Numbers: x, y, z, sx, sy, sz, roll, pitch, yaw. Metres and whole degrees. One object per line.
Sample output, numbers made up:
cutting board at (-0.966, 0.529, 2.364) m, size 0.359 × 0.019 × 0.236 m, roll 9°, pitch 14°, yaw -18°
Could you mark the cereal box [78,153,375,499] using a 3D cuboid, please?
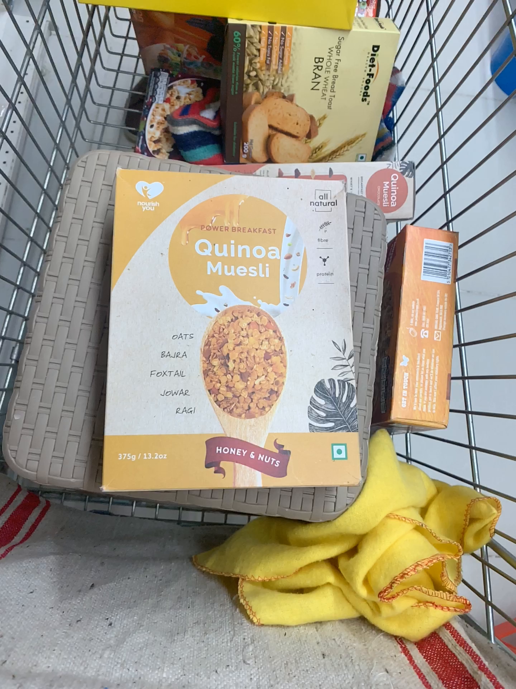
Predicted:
cereal box at (-0.020, -0.008, 0.345) m, size 0.160 × 0.080 × 0.200 m, roll 1°, pitch 78°, yaw -6°
